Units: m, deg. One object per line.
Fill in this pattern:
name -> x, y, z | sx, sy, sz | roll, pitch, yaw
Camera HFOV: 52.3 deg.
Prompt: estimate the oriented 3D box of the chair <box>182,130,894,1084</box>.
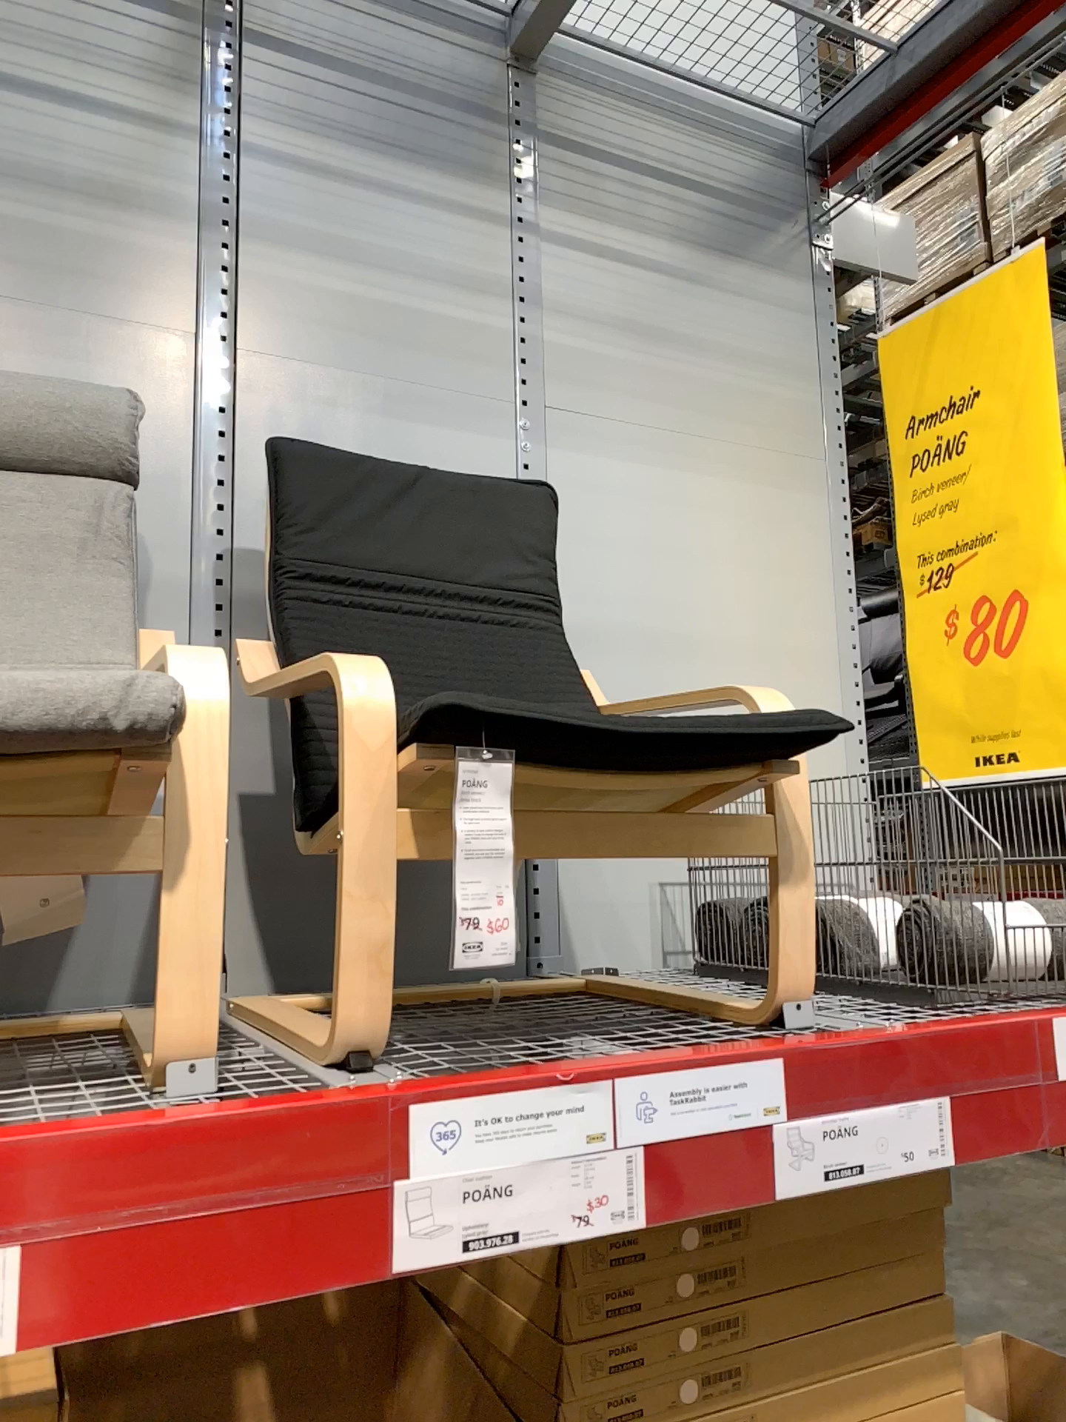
chair -> -0.068, -0.068, 1.654 | 0.719, 1.012, 0.839 | 3, -10, -28
